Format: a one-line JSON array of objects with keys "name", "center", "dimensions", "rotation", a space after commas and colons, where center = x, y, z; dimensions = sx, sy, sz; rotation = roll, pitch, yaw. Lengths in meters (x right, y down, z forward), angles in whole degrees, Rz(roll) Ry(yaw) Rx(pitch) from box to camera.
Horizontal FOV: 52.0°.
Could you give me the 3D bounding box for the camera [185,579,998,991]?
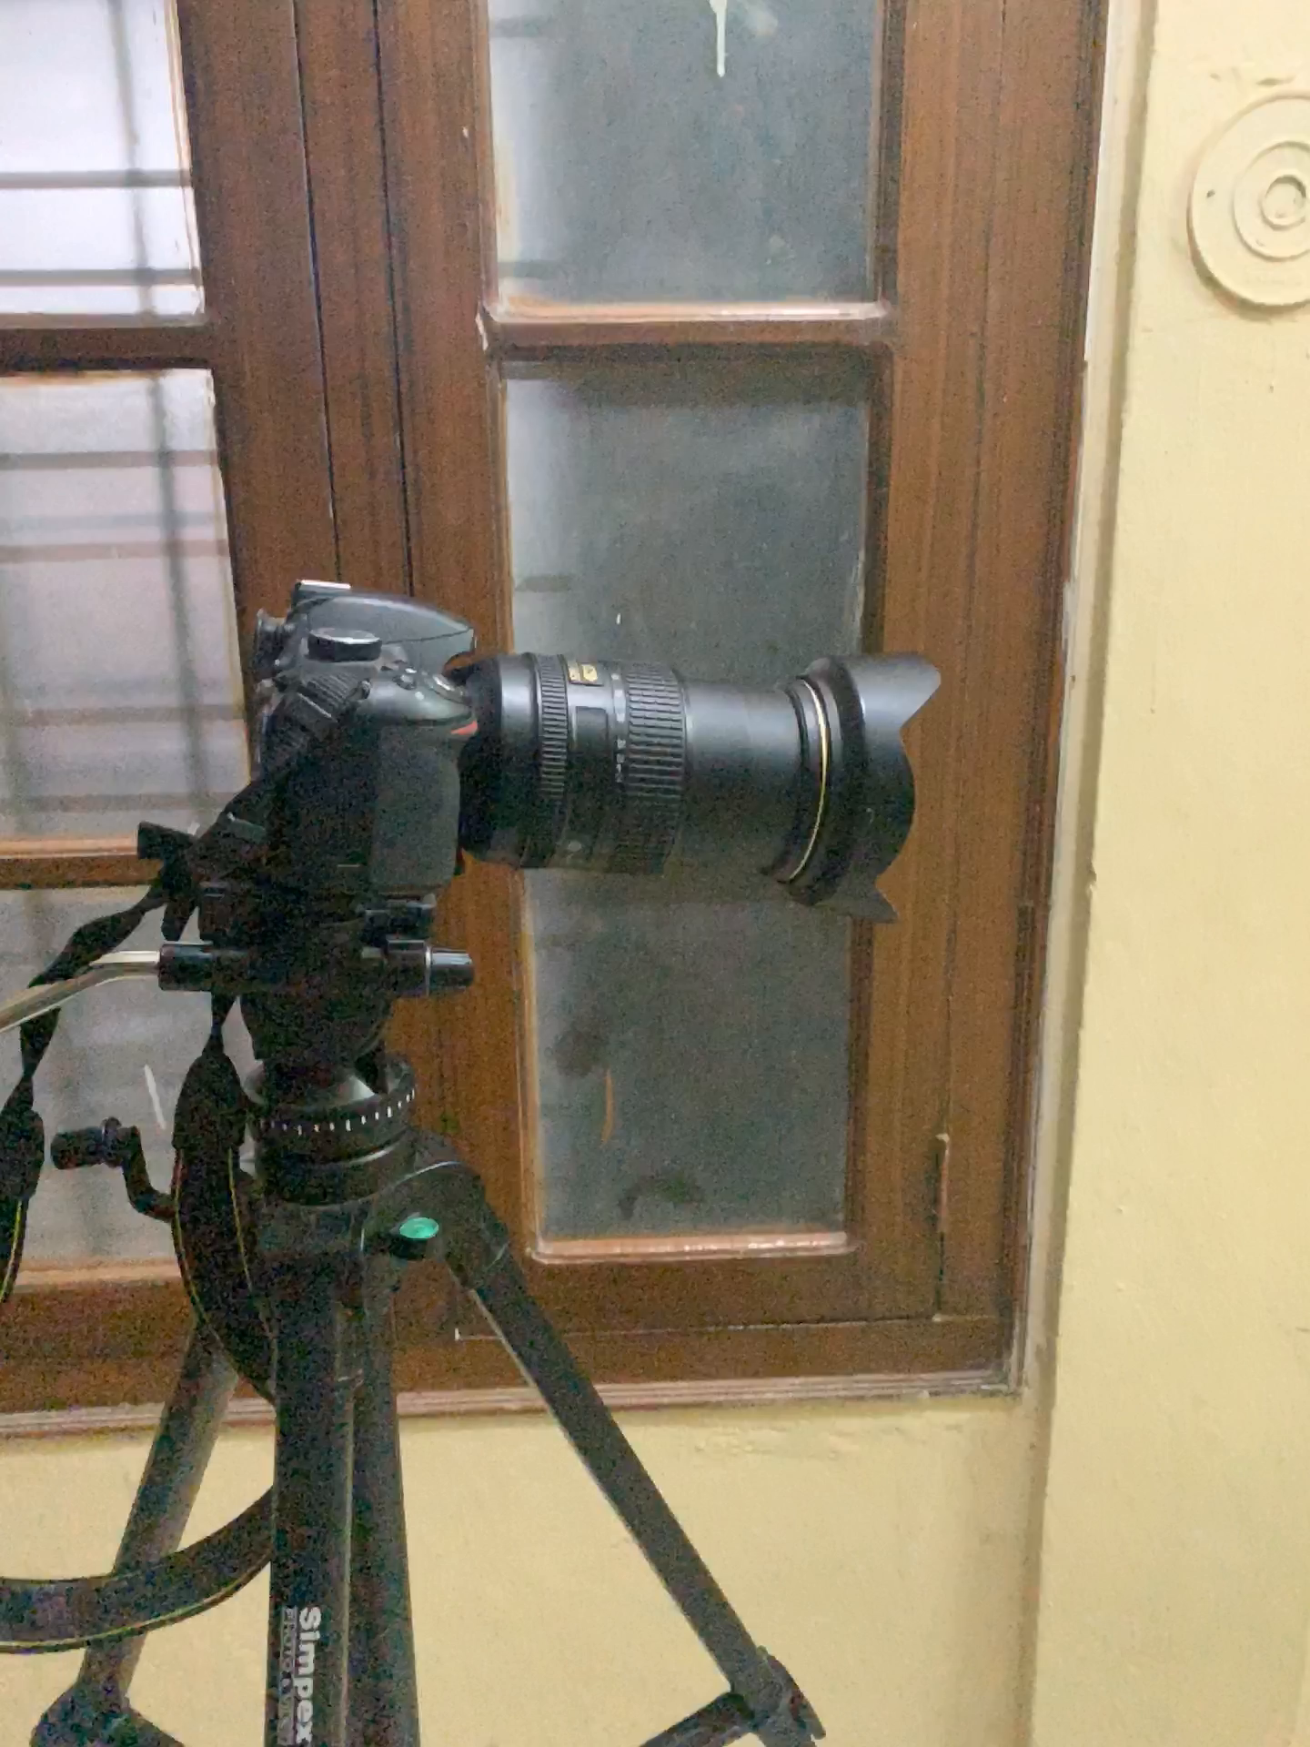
[{"name": "camera", "center": [-0.030, -0.037, 0.518], "dimensions": [0.270, 0.120, 0.130], "rotation": [2, 15, -11]}]
